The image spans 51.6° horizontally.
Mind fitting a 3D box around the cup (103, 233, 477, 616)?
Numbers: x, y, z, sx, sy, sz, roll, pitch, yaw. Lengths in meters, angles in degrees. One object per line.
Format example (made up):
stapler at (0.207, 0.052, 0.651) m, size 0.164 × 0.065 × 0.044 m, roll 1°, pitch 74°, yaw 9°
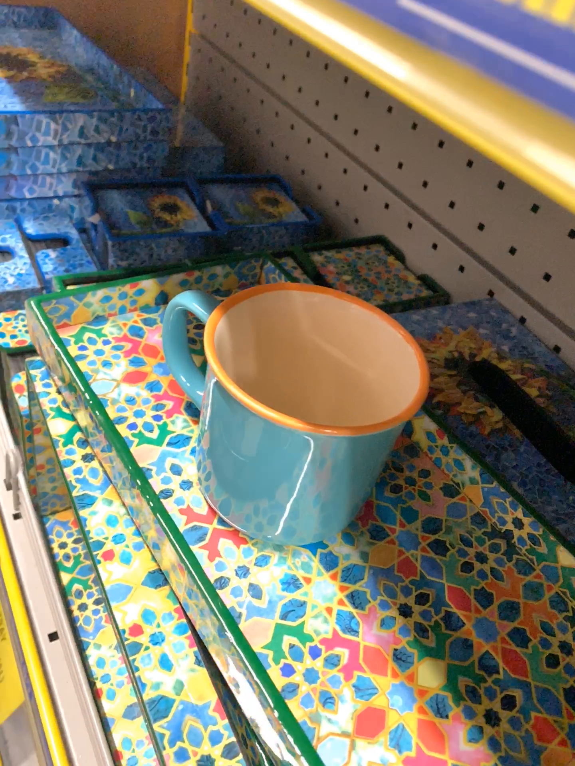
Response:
cup at (-0.007, 0.009, 0.256) m, size 0.090 × 0.080 × 0.120 m, roll -26°, pitch 55°, yaw -37°
